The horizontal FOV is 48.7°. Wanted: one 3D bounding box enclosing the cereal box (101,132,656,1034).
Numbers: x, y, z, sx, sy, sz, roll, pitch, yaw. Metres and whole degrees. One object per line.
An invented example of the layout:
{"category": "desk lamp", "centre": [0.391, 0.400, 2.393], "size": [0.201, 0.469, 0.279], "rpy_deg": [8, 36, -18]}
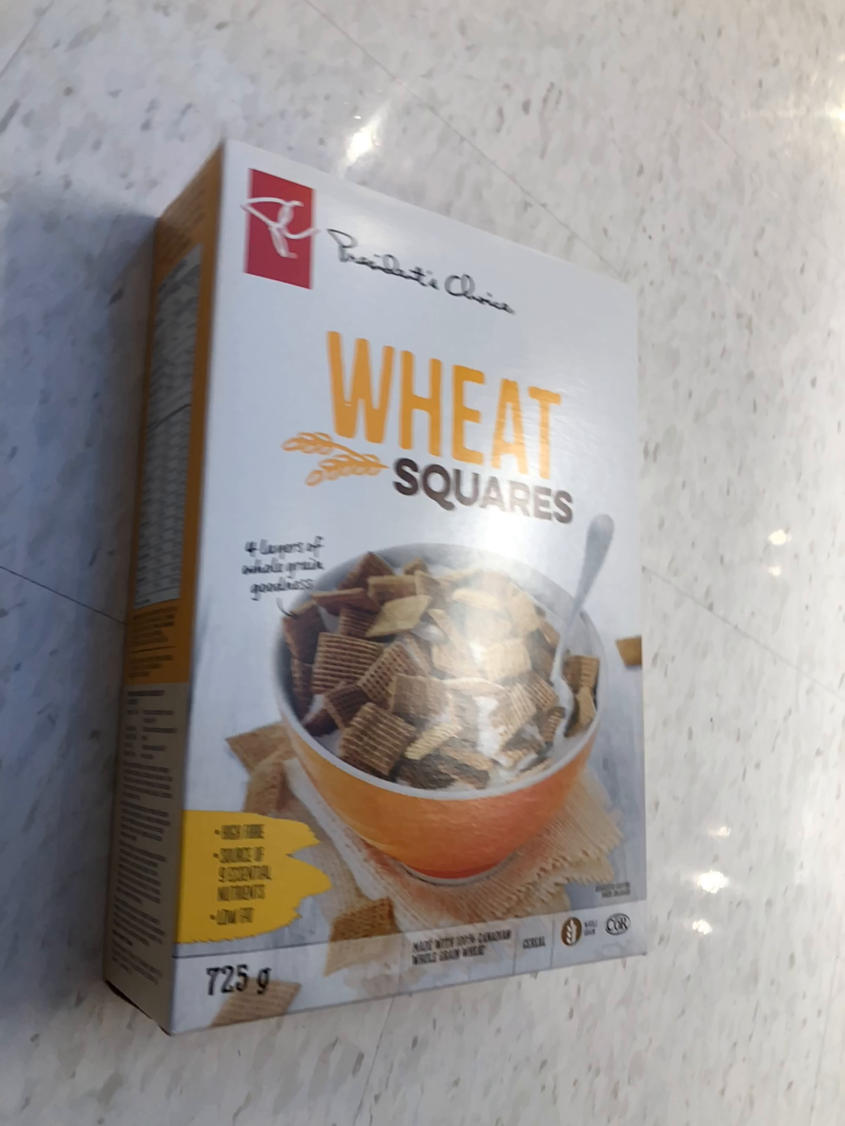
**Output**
{"category": "cereal box", "centre": [-0.009, 0.010, 0.384], "size": [0.201, 0.080, 0.290], "rpy_deg": [7, 78, -33]}
